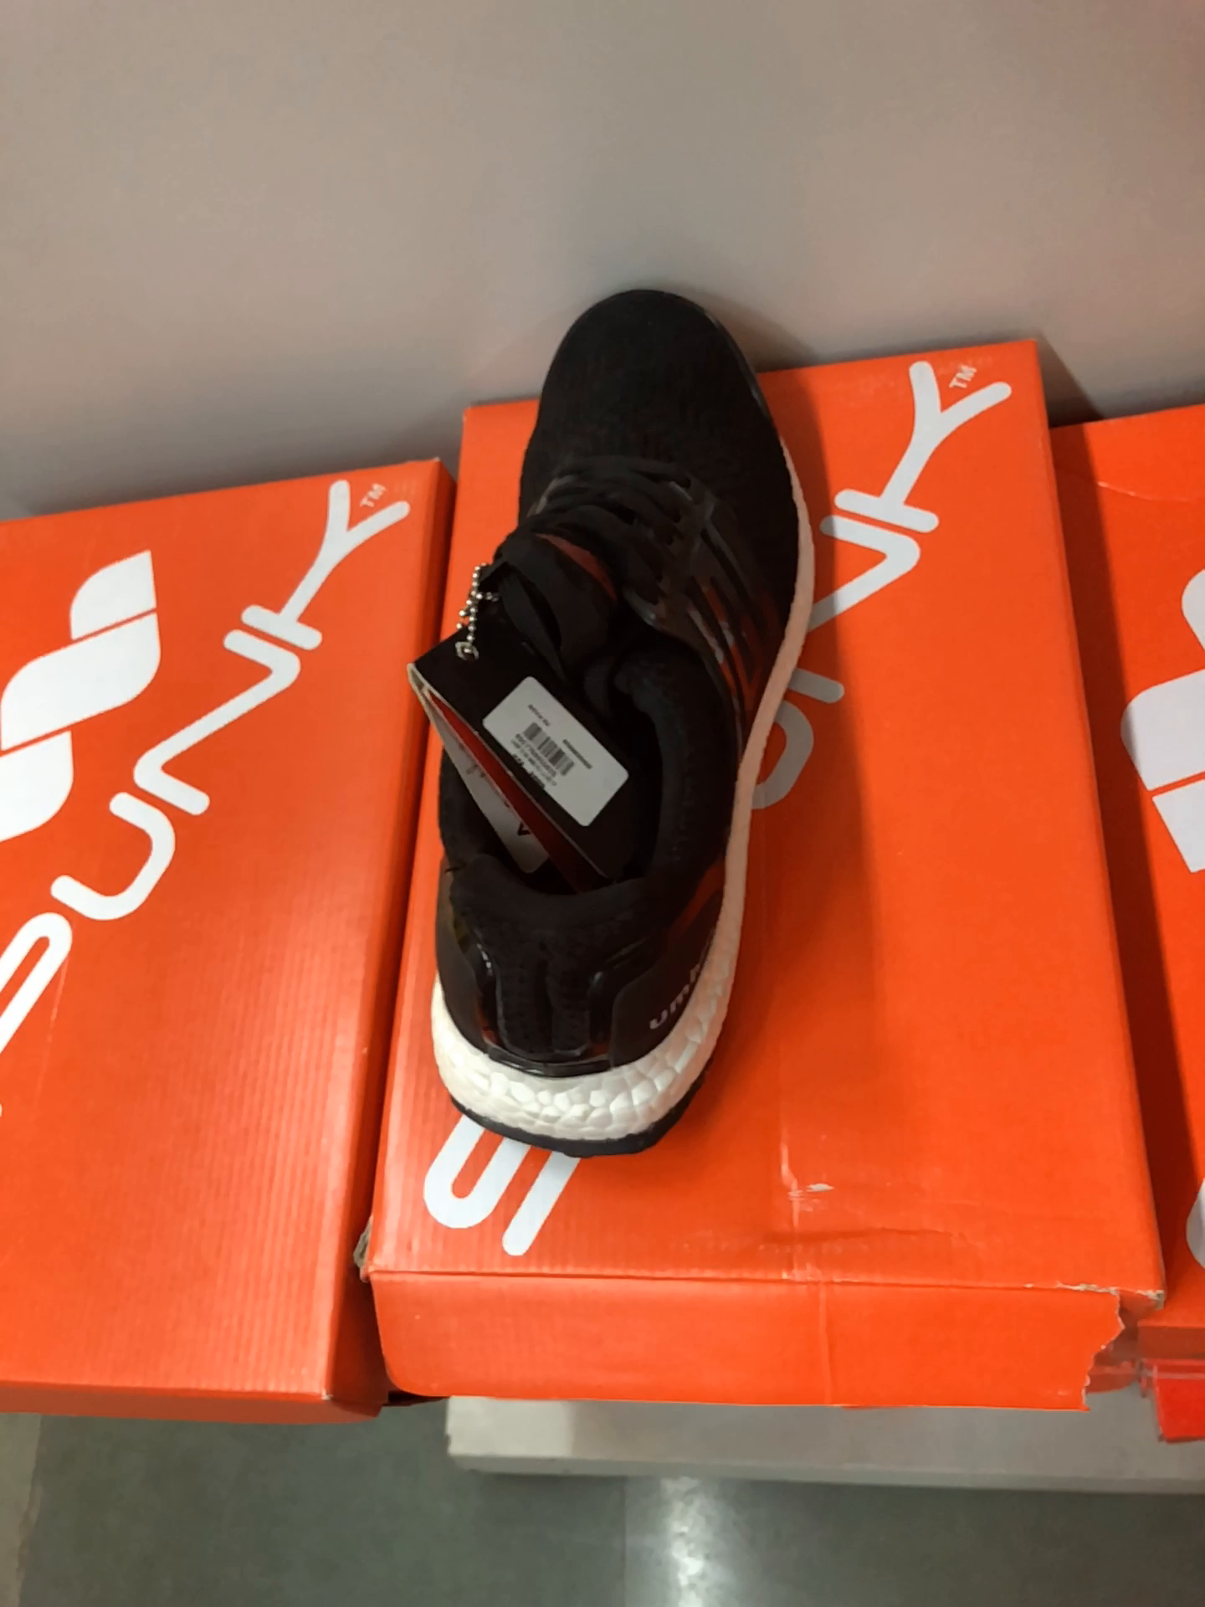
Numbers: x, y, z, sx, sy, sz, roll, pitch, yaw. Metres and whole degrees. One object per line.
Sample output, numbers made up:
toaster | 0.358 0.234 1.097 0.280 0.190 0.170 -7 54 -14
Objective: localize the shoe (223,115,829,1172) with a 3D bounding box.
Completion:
shoe | -0.001 -0.051 0.408 0.116 0.120 0.290 2 66 13
